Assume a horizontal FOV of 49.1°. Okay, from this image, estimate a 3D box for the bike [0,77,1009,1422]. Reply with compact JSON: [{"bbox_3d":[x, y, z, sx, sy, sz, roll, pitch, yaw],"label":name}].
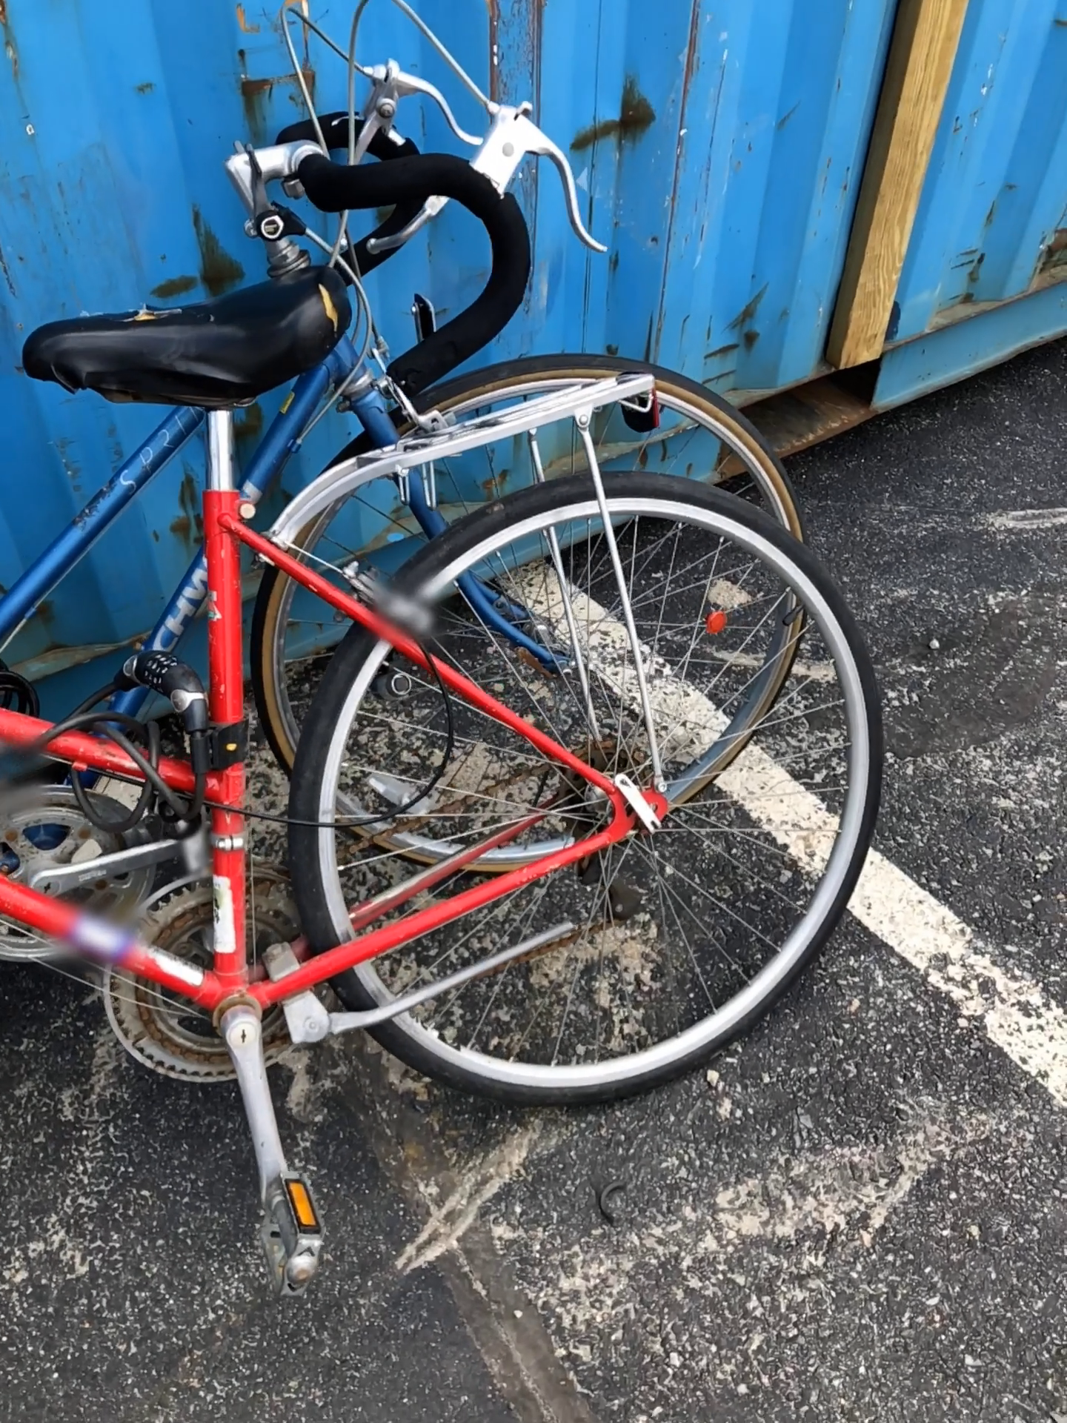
[{"bbox_3d":[-0.420,0.022,1.039,1.643,0.824,0.485,-20,49,-22],"label":"bike"}]
